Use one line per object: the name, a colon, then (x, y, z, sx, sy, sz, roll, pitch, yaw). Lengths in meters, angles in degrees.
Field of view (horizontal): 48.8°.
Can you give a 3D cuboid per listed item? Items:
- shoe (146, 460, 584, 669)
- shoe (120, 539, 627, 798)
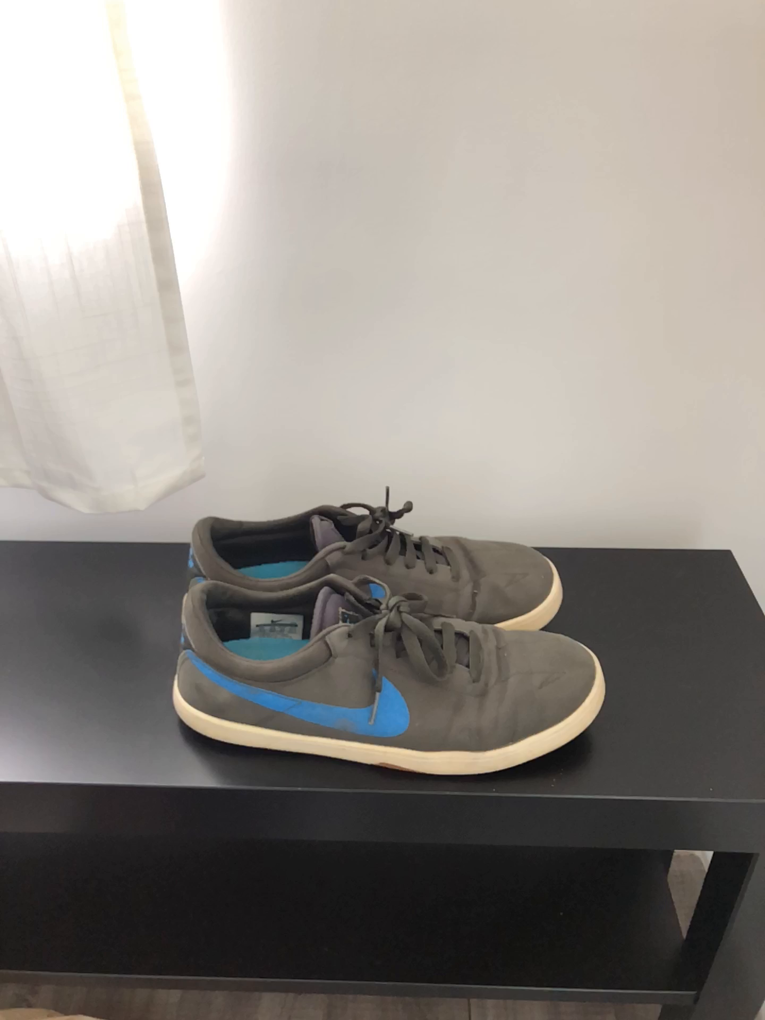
shoe: (-0.011, 0.038, 0.611, 0.280, 0.110, 0.100, -1, 33, 0)
shoe: (-0.004, 0.097, 0.537, 0.280, 0.110, 0.100, 2, 33, 4)
